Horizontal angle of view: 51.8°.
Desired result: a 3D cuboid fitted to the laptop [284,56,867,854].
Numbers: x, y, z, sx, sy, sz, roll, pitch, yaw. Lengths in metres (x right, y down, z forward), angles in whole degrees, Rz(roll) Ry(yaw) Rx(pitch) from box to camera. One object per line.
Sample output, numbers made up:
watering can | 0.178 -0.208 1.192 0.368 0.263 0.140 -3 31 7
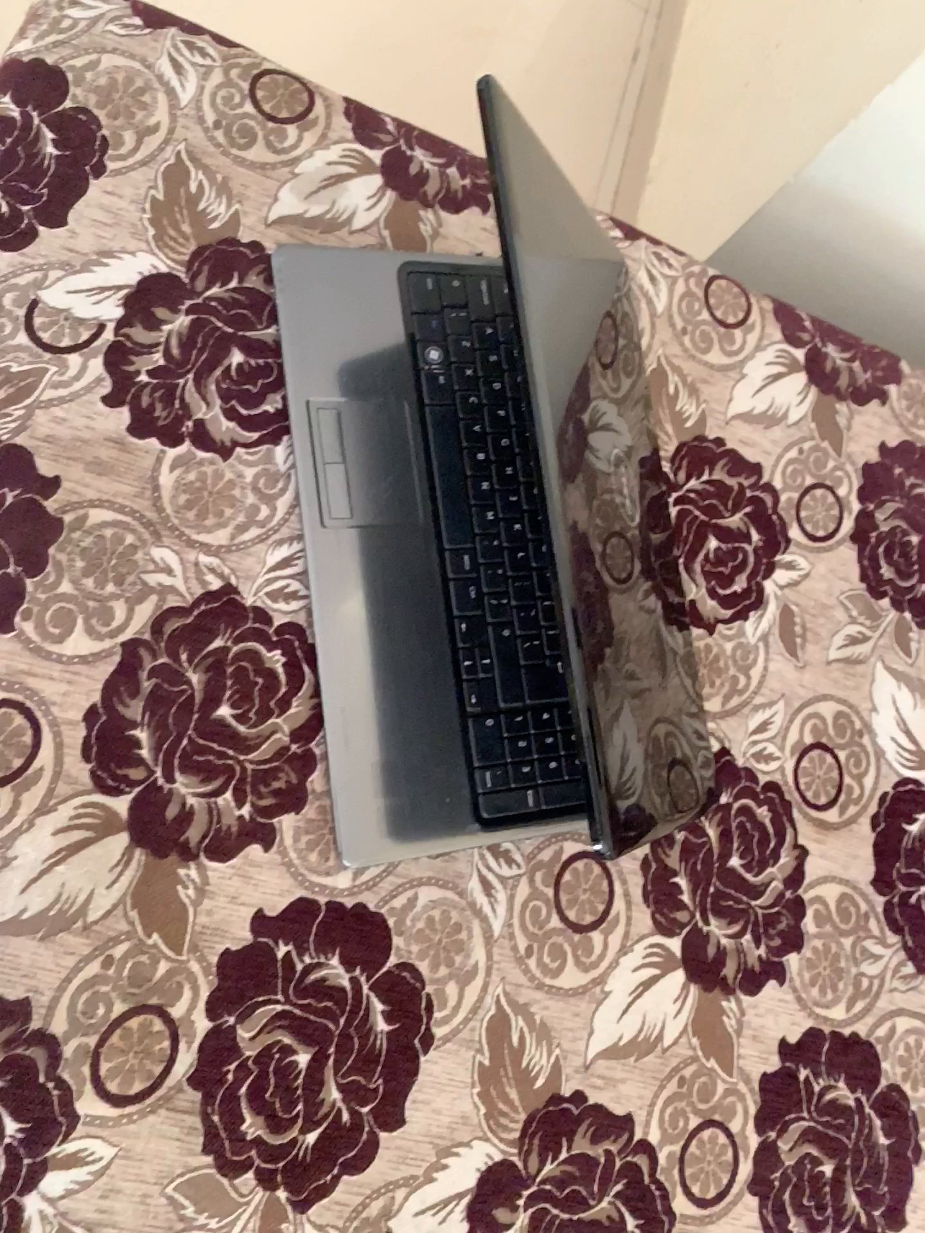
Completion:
laptop | 0.042 -0.074 0.520 0.220 0.155 0.363 -3 79 -22
